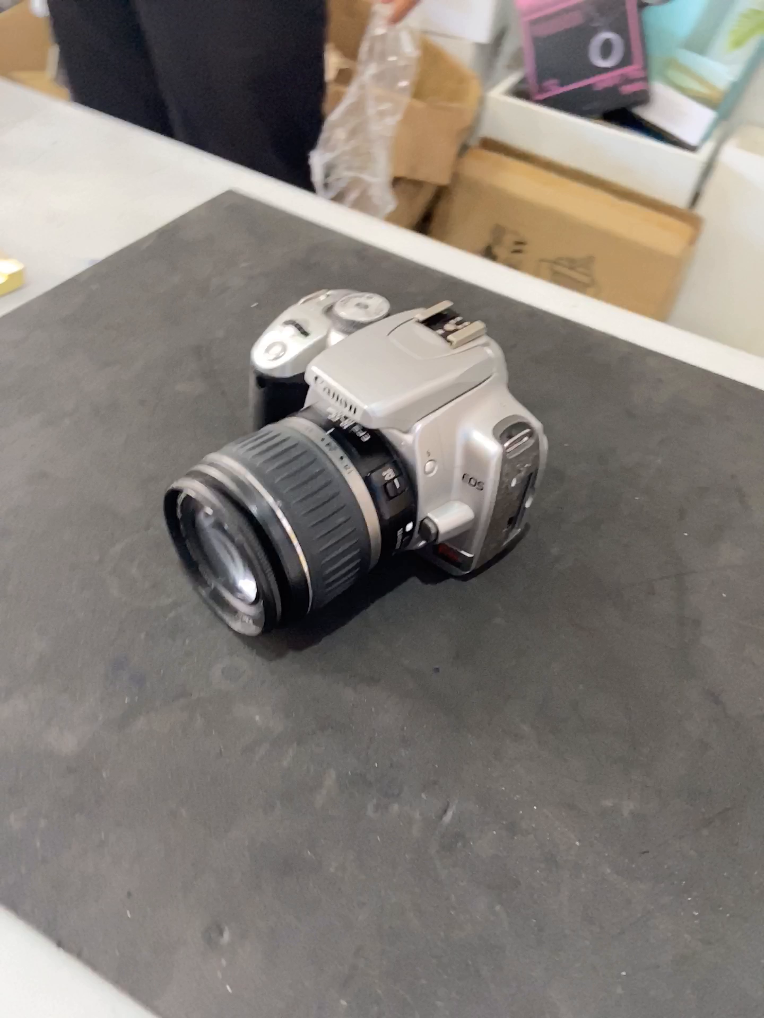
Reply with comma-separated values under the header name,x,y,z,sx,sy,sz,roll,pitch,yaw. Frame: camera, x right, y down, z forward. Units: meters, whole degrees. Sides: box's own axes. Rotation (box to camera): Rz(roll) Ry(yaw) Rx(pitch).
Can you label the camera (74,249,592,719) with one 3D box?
name,x,y,z,sx,sy,sz,roll,pitch,yaw
camera,-0.017,-0.021,0.309,0.120,0.080,0.141,36,51,25
